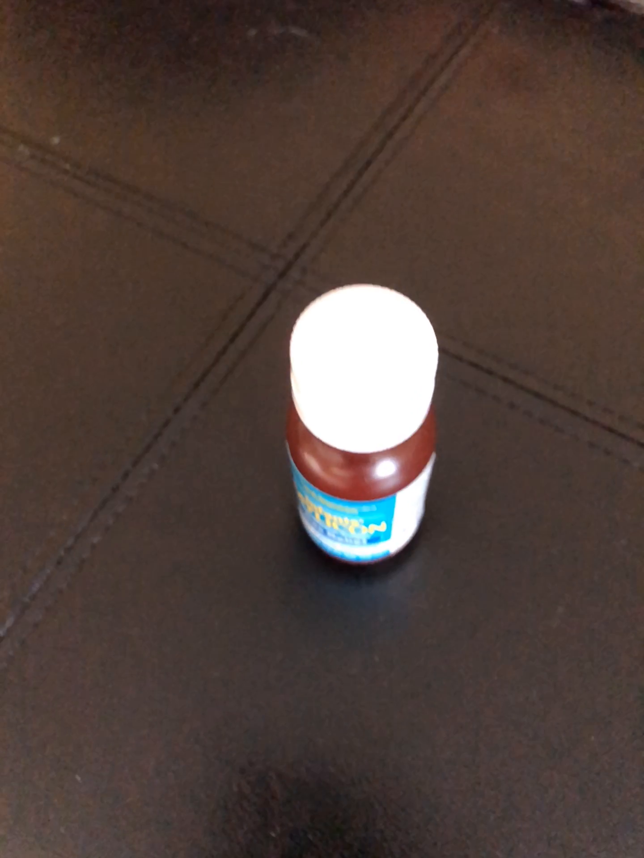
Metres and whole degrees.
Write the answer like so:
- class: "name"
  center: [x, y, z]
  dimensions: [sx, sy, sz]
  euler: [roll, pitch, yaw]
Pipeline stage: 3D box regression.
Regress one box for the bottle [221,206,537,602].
- class: "bottle"
  center: [0.012, 0.001, 0.157]
  dimensions: [0.040, 0.080, 0.040]
  euler: [-1, 63, 3]
